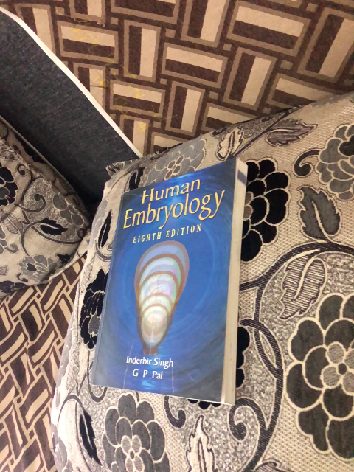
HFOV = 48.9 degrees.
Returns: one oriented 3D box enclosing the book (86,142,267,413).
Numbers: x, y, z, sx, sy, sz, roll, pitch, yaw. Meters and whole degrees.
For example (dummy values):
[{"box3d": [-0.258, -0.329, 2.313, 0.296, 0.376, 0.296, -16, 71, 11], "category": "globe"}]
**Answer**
[{"box3d": [-0.001, 0.041, 0.447, 0.201, 0.030, 0.270, -9, 64, 36], "category": "book"}]
